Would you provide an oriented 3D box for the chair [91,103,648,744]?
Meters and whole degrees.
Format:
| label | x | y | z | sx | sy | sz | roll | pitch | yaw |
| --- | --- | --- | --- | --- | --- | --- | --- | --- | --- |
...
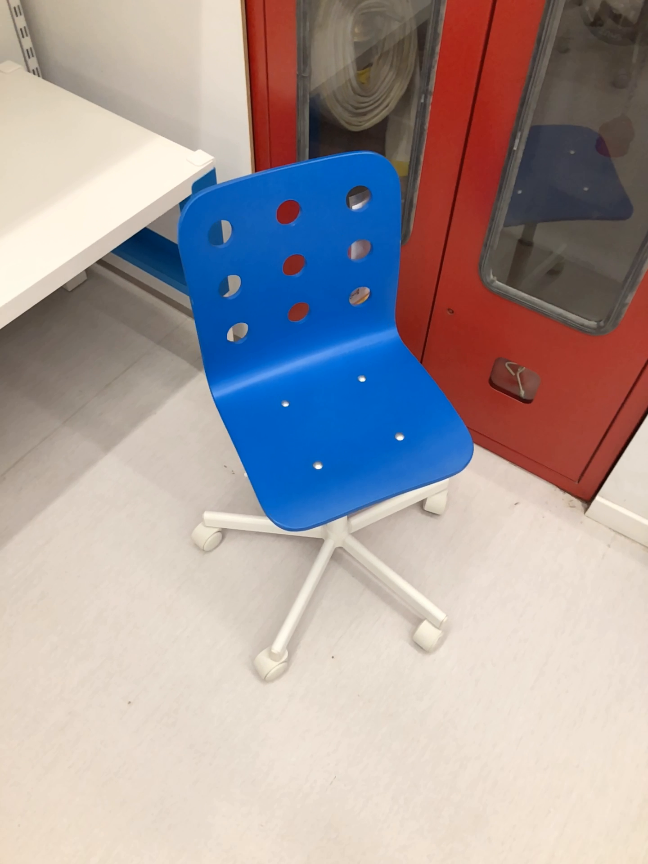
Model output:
| label | x | y | z | sx | sy | sz | roll | pitch | yaw |
| --- | --- | --- | --- | --- | --- | --- | --- | --- | --- |
| chair | 0.071 | 0.018 | 1.055 | 0.551 | 0.686 | 0.492 | -20 | 56 | -16 |
